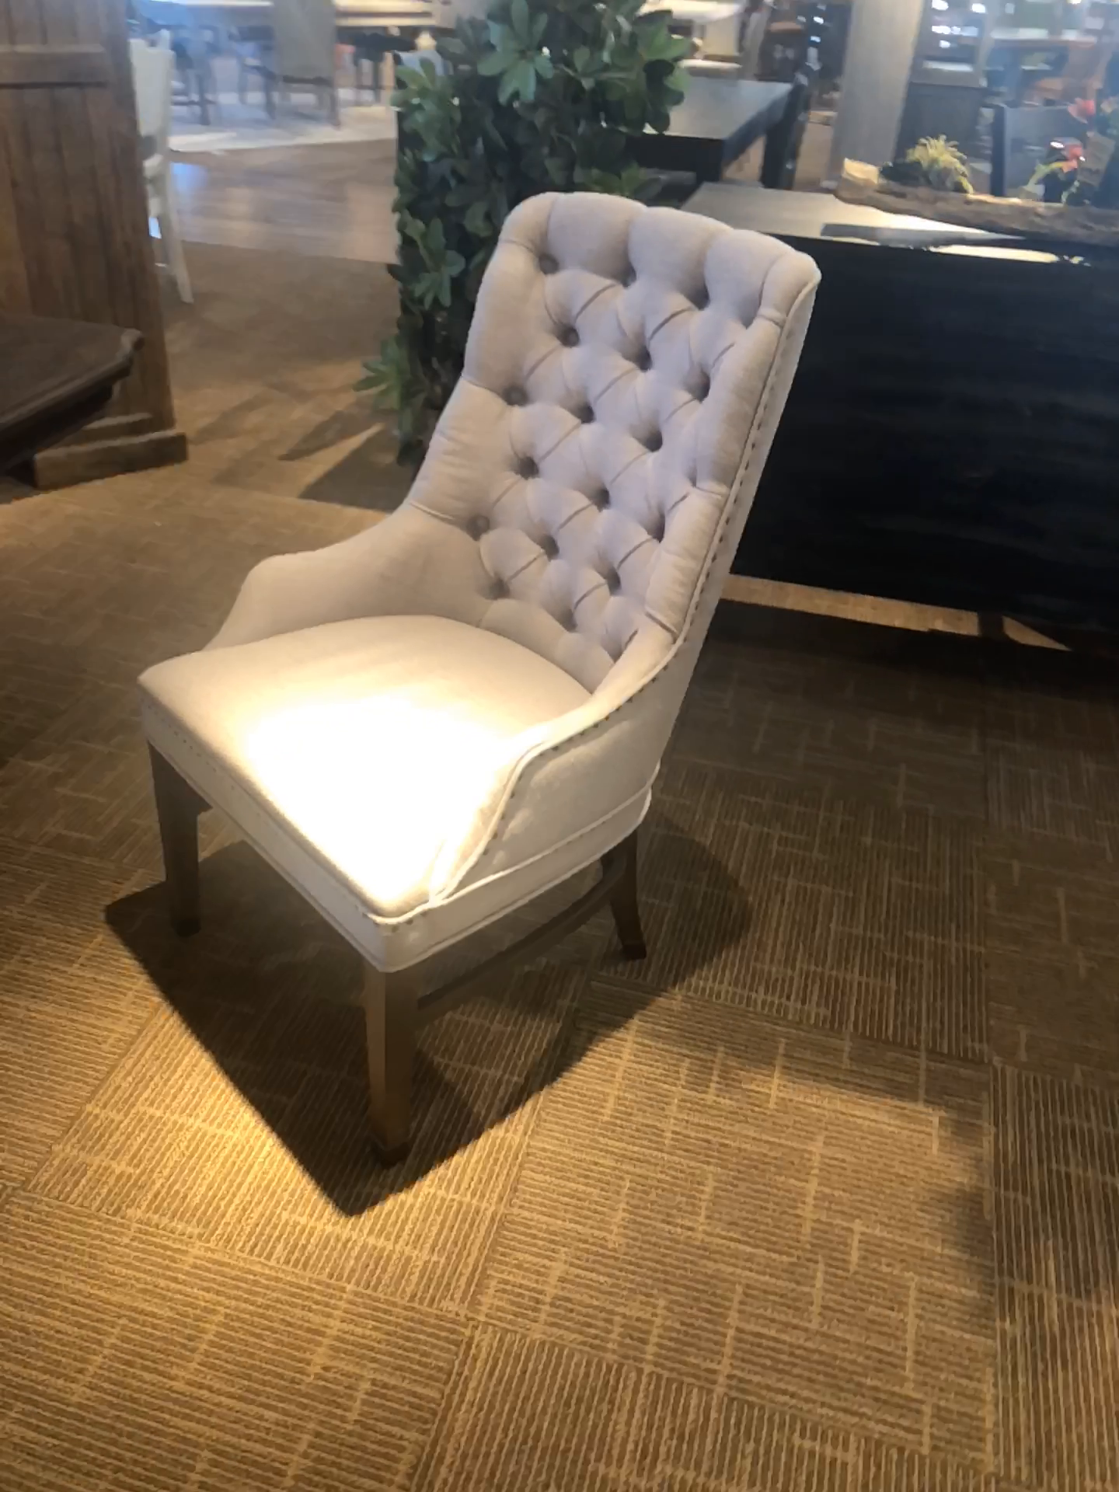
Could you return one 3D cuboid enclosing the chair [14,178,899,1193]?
[{"bbox_3d":[-0.138,-0.137,1.652,0.762,1.014,0.642,-22,41,-33],"label":"chair"}]
